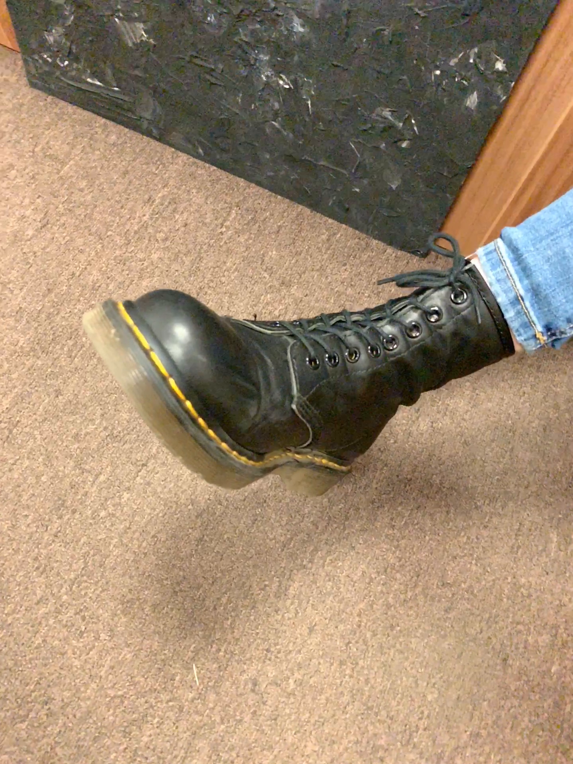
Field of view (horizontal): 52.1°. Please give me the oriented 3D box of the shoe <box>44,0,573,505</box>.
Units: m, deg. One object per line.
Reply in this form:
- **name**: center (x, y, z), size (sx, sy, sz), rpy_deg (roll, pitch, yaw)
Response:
- **shoe**: center (0.068, -0.033, 0.406), size (0.230, 0.370, 0.120), rpy_deg (-34, 72, 9)
